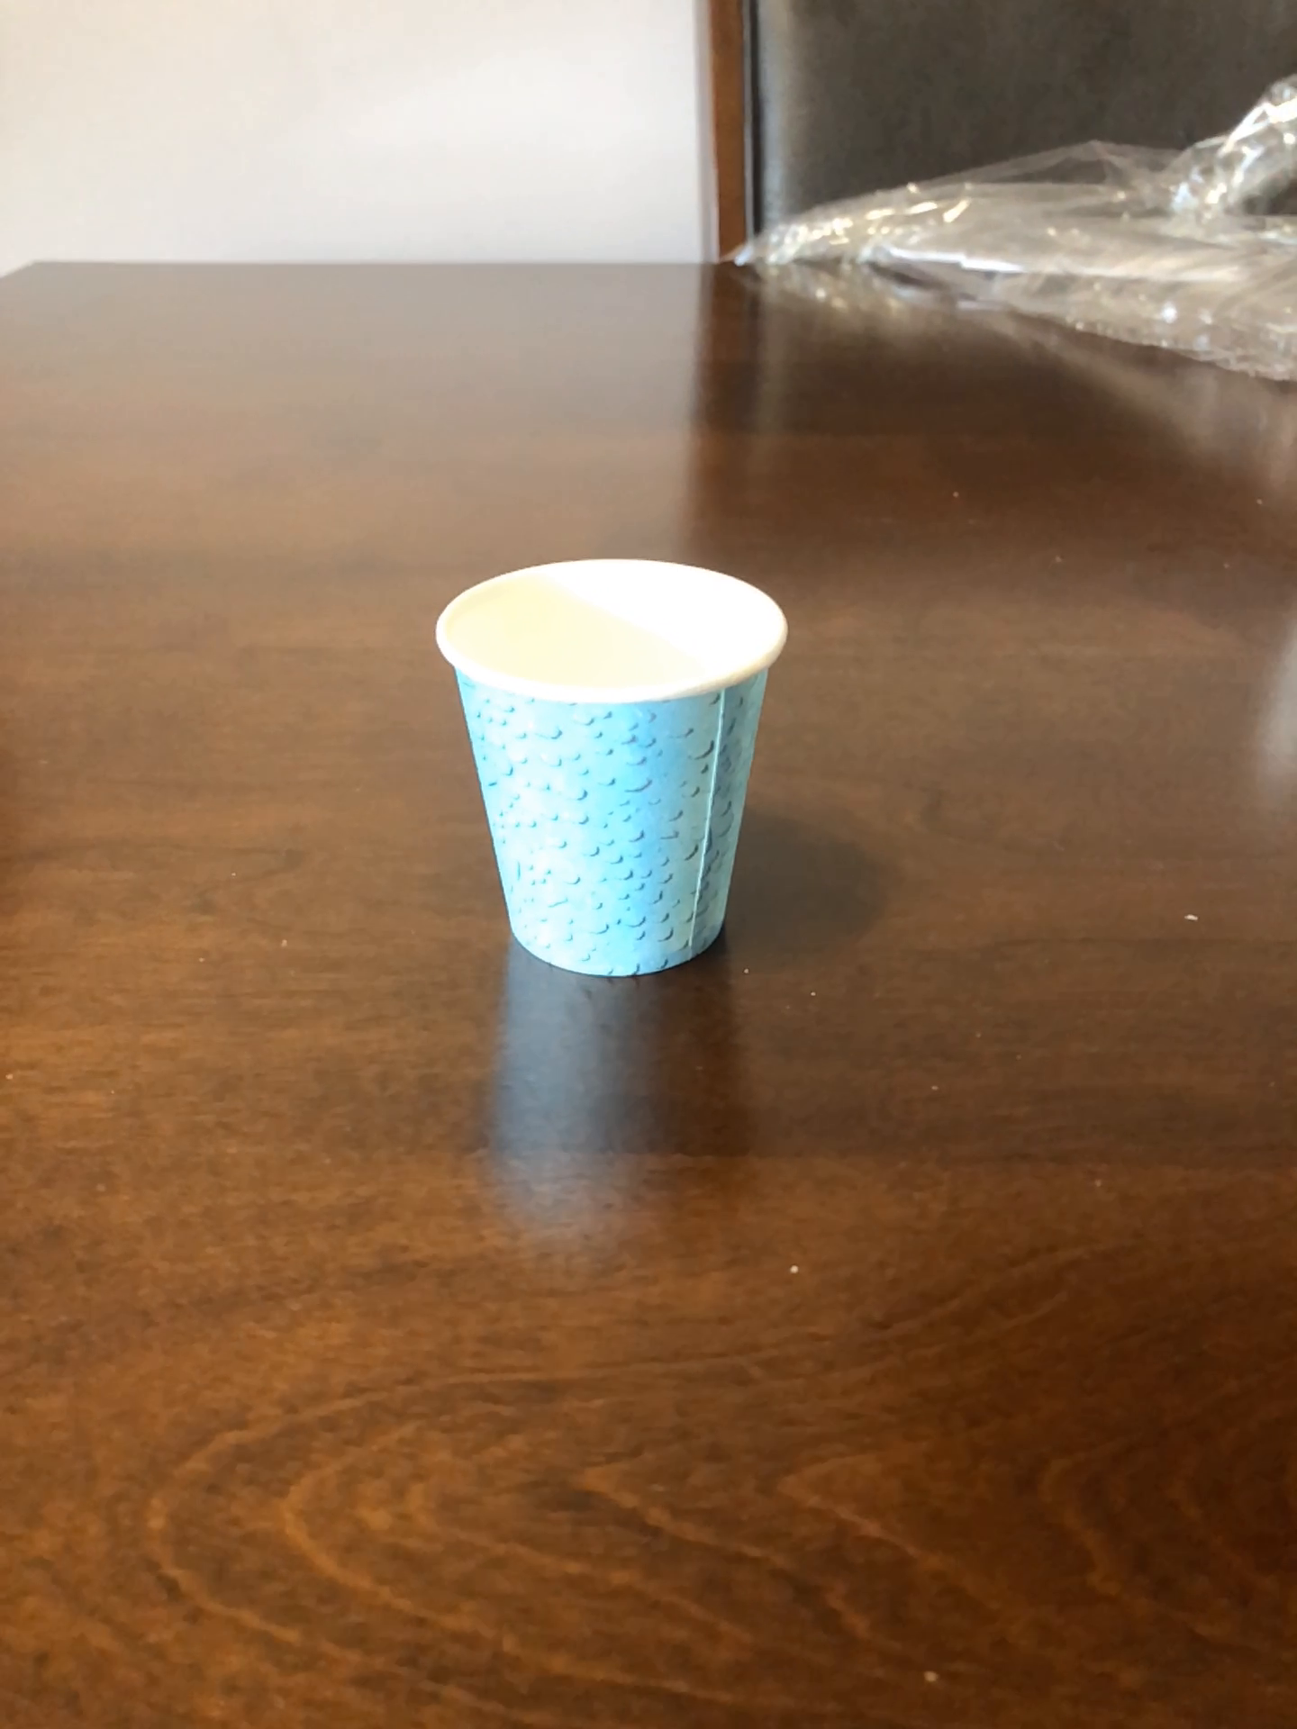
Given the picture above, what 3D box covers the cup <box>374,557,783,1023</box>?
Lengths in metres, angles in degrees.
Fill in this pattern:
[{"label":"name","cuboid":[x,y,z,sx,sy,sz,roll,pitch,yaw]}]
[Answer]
[{"label":"cup","cuboid":[-0.010,-0.015,0.253,0.060,0.060,0.060,0,31,0]}]
